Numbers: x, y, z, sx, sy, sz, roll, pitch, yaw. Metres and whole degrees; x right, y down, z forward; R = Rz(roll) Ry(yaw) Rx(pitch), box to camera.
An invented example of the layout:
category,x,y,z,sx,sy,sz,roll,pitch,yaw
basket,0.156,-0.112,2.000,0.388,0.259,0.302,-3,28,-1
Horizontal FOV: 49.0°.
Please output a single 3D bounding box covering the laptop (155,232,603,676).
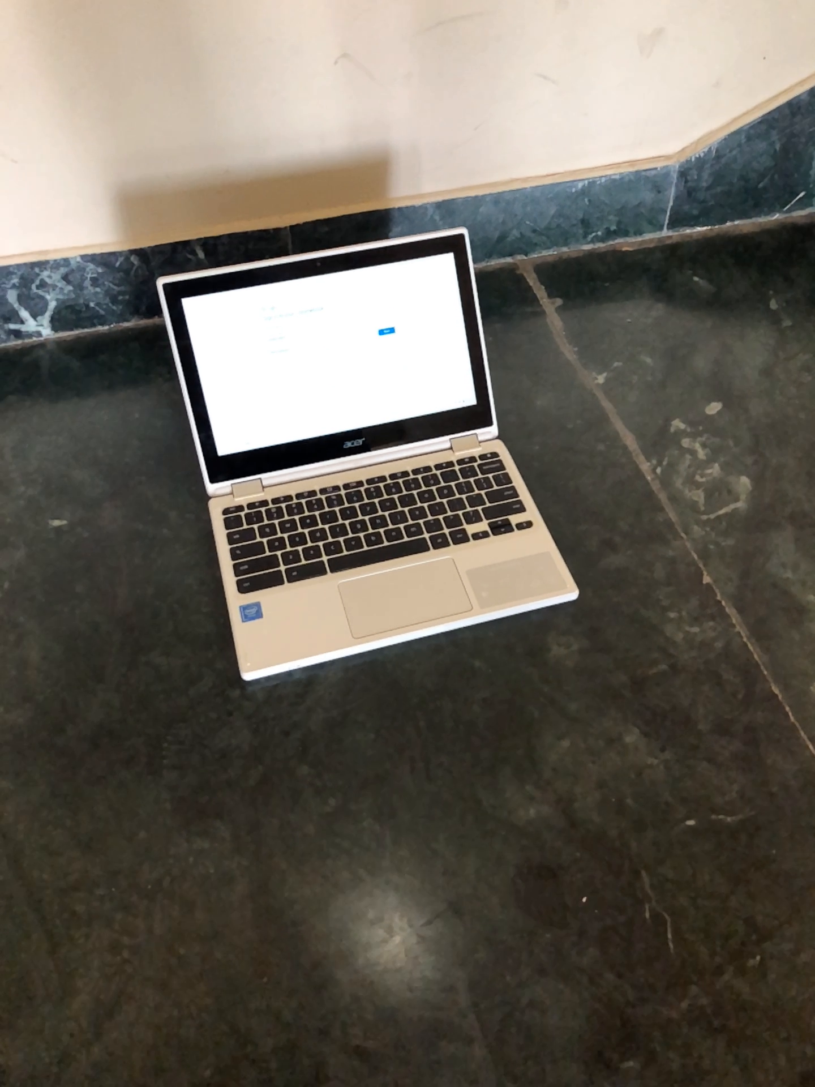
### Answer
category,x,y,z,sx,sy,sz,roll,pitch,yaw
laptop,-0.040,-0.092,0.762,0.281,0.156,0.315,-13,51,-10
